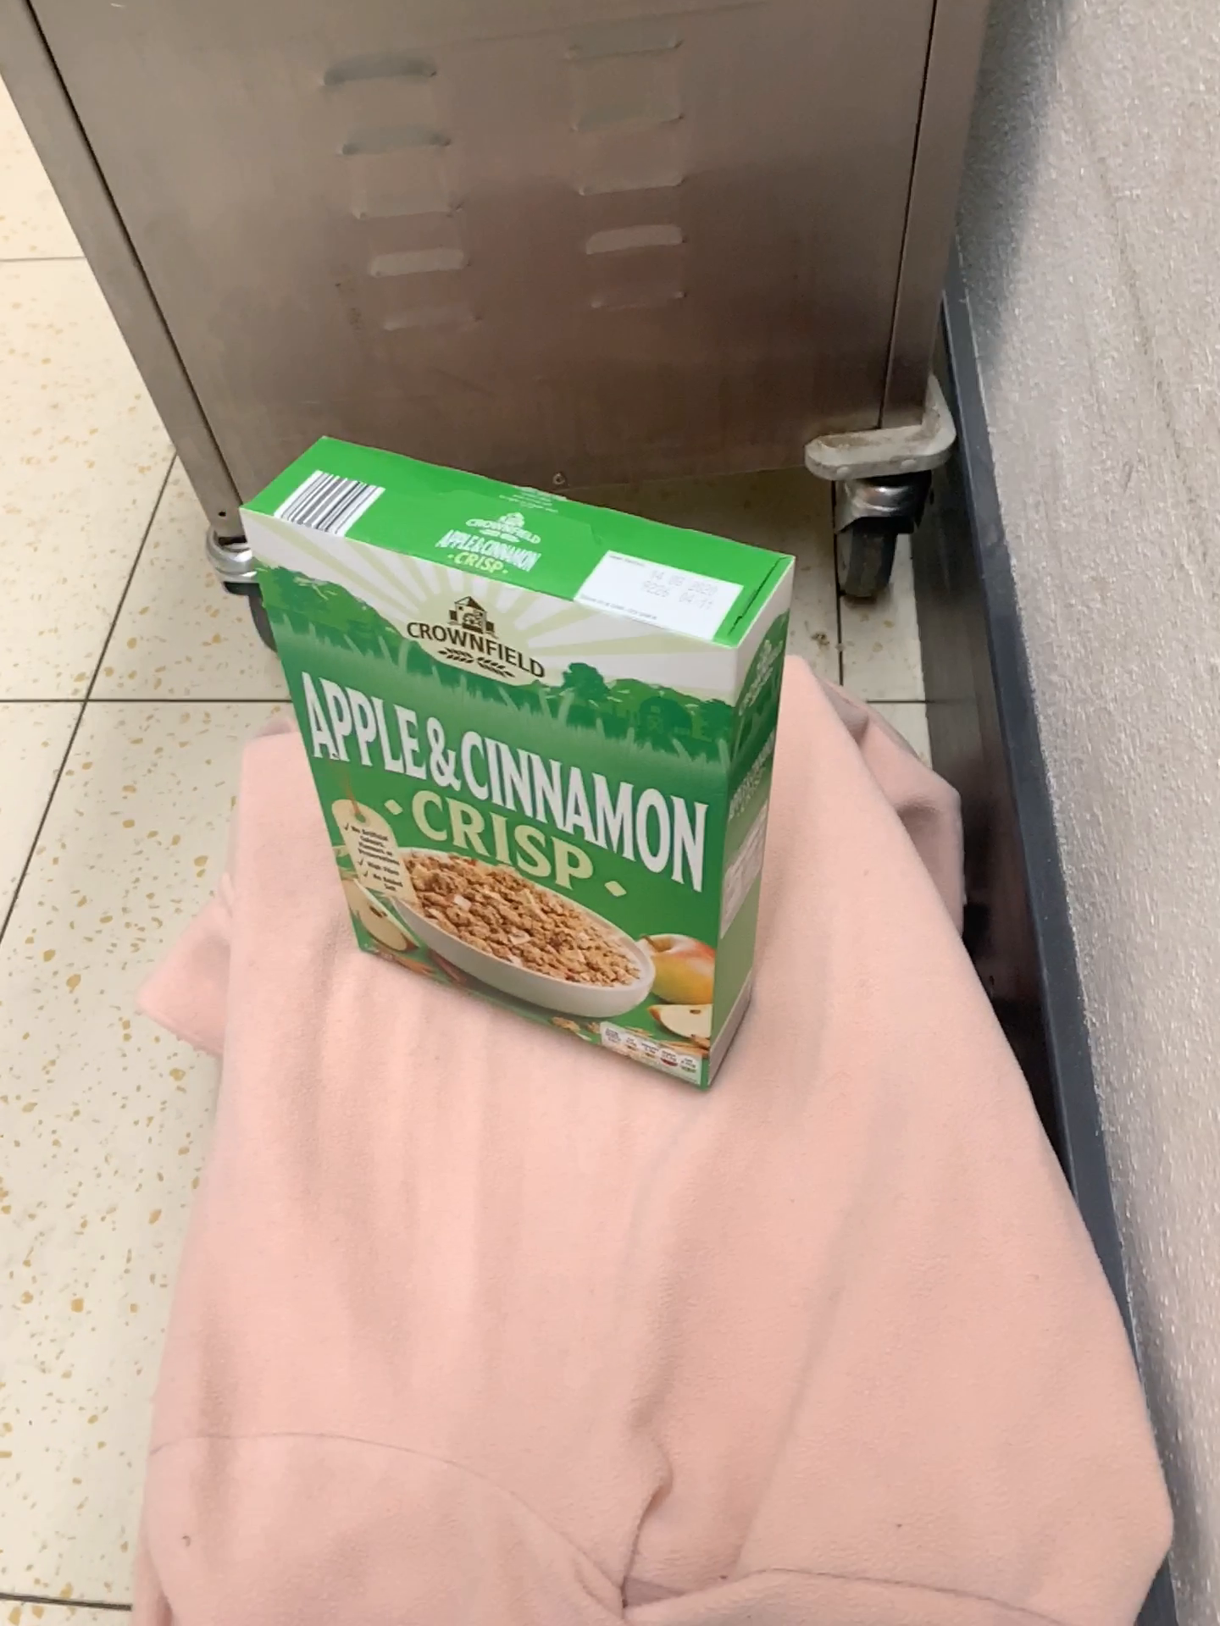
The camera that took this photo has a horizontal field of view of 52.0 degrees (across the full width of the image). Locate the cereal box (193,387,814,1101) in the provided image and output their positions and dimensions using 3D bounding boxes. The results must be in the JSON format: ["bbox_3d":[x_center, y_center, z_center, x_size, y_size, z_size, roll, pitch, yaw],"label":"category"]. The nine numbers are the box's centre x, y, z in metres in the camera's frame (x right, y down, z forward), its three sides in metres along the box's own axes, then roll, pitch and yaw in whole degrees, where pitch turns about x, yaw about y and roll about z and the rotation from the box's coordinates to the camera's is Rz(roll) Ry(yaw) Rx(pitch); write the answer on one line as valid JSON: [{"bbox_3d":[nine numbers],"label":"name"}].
[{"bbox_3d":[-0.033,-0.013,0.489,0.190,0.258,0.060,20,52,18],"label":"cereal box"}]
